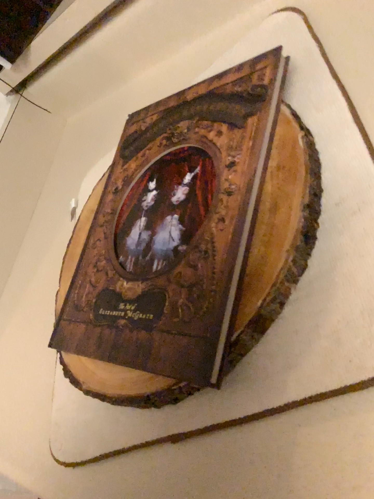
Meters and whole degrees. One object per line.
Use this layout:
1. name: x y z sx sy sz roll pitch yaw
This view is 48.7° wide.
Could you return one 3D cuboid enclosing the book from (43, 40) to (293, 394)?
1. book: -0.026 -0.038 0.414 0.230 0.020 0.310 -4 63 45
